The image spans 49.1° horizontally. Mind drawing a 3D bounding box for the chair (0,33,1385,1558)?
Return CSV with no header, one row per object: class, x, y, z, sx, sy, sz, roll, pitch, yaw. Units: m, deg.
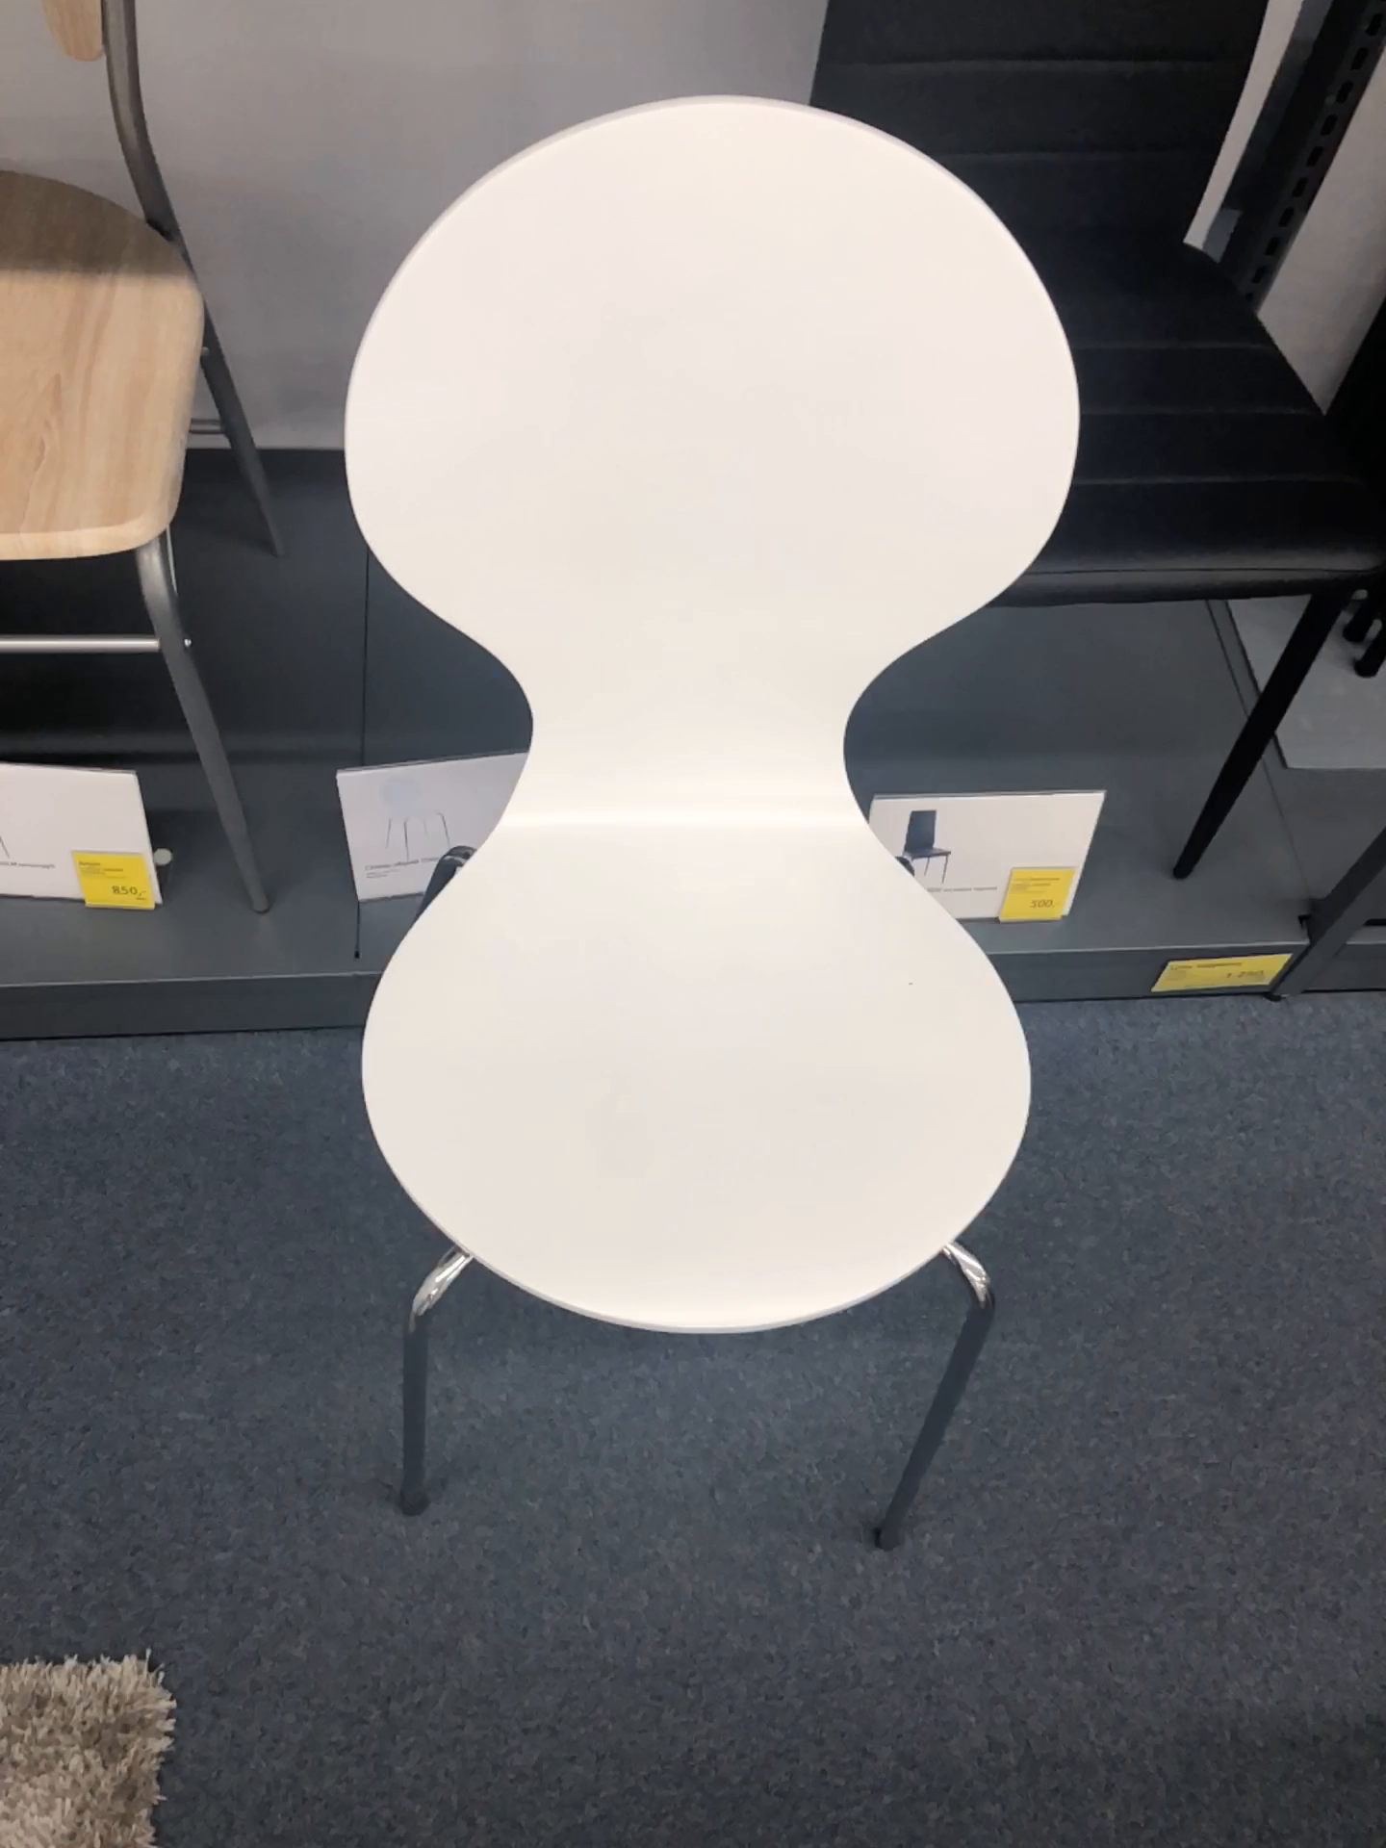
chair,-0.007,0.013,1.036,0.560,0.818,0.642,4,58,-4
